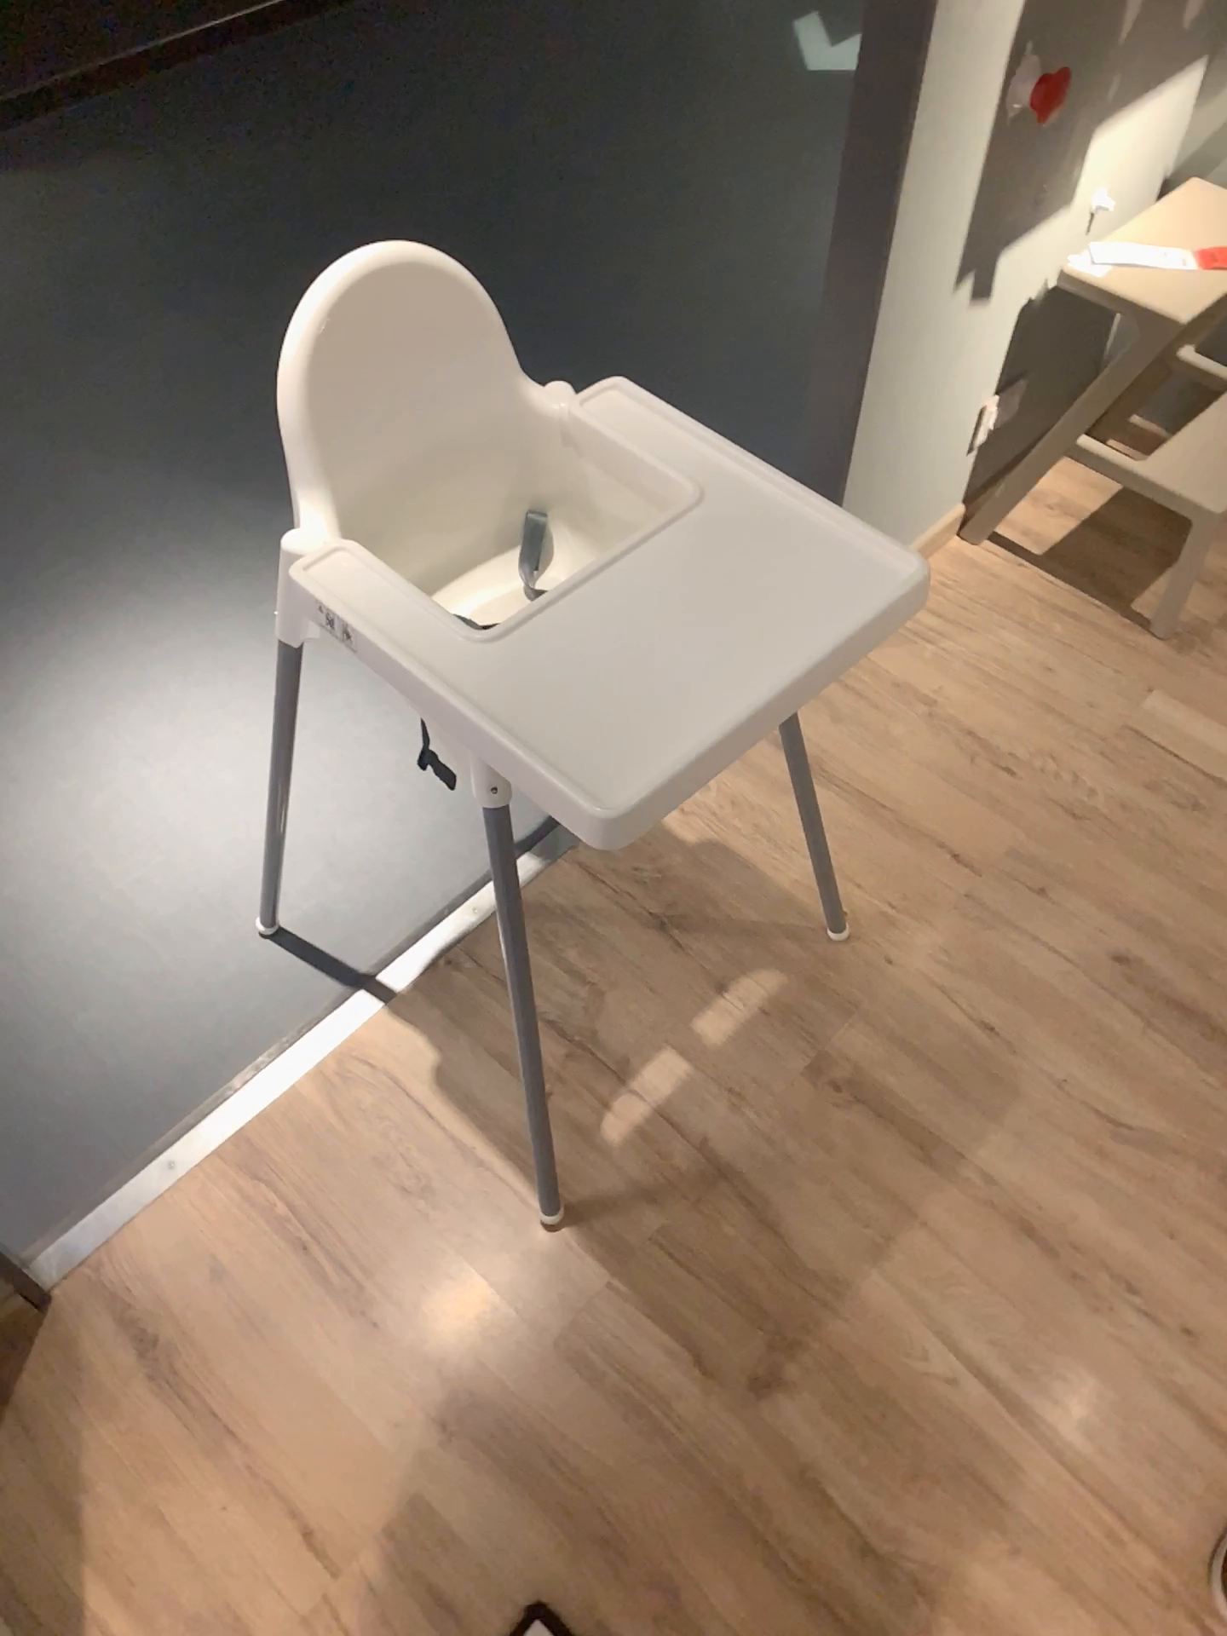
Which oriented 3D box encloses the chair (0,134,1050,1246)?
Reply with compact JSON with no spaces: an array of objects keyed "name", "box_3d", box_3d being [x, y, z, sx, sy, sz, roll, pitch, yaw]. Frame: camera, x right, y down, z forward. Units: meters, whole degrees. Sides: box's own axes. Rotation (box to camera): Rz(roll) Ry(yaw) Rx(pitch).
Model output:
[{"name":"chair","box_3d":[-0.078,-0.107,1.310,0.621,0.798,0.571,37,61,24]}]
